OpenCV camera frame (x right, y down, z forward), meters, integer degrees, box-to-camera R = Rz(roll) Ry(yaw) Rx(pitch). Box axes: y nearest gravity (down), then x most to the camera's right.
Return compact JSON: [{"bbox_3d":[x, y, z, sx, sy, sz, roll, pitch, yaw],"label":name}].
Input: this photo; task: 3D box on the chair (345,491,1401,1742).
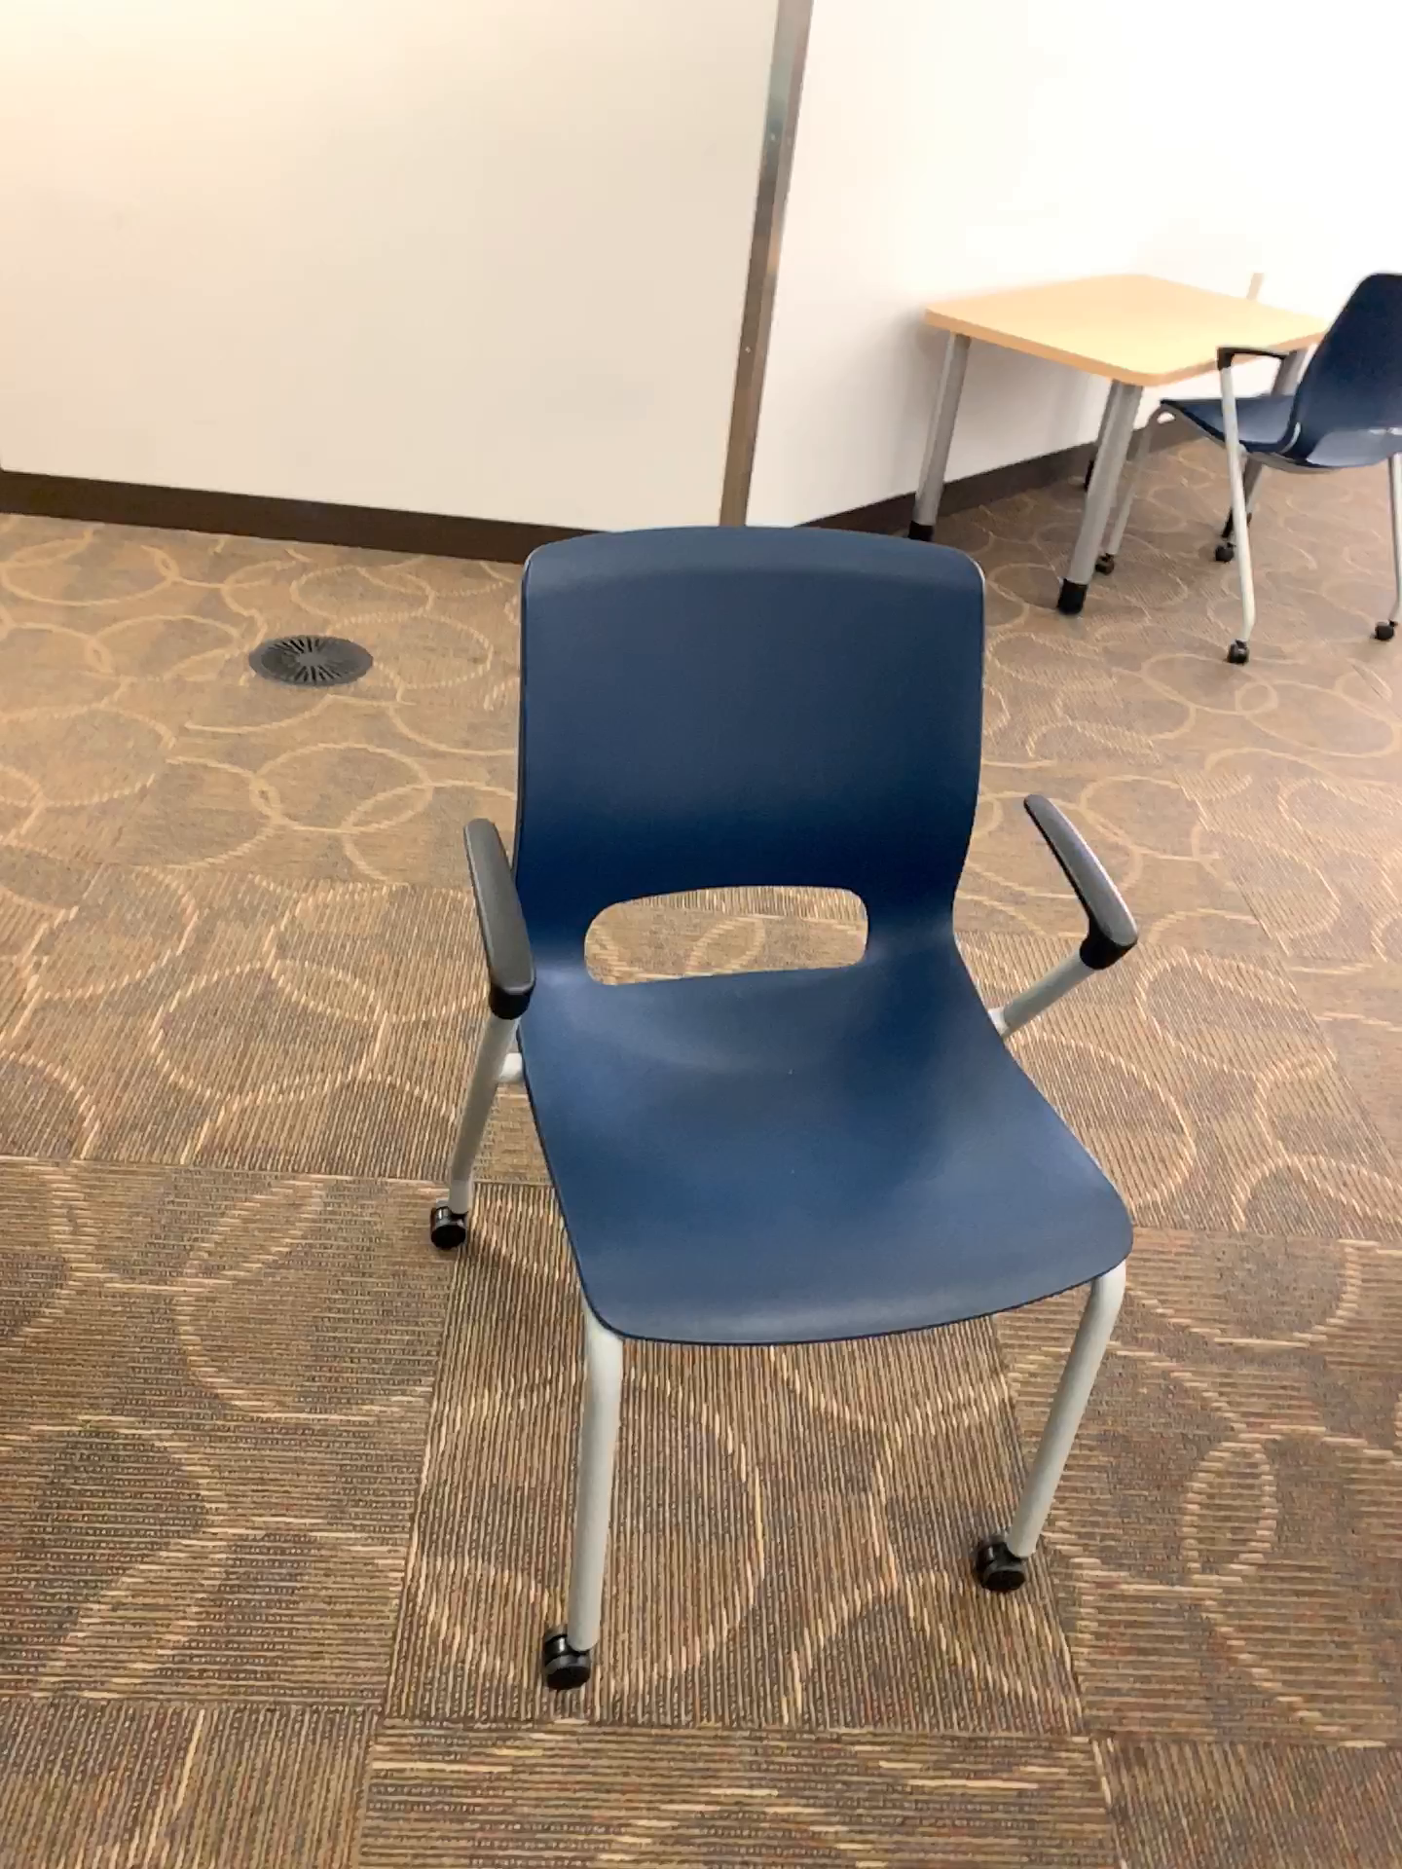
[{"bbox_3d":[0.065,0.097,1.139,0.620,0.686,0.613,-4,36,-15],"label":"chair"}]
